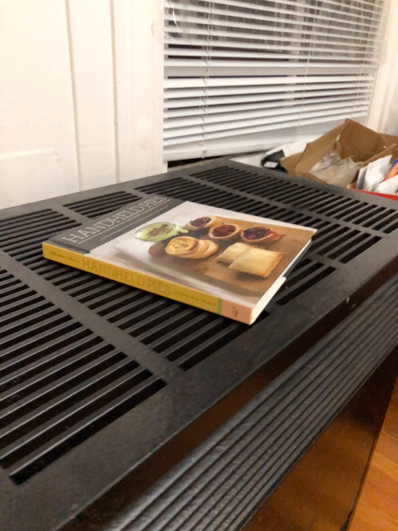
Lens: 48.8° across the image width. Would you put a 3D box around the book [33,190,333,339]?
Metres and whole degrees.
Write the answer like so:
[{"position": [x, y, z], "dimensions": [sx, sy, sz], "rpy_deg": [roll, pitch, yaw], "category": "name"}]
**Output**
[{"position": [-0.004, -0.022, 0.441], "dimensions": [0.230, 0.020, 0.201], "rpy_deg": [15, 30, 23], "category": "book"}]
